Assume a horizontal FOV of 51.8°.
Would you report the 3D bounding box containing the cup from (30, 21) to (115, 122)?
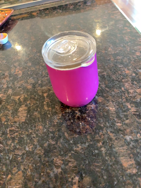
[{"bbox_3d":[0.003,-0.033,0.237,0.090,0.110,0.090,-5,51,6],"label":"cup"}]
